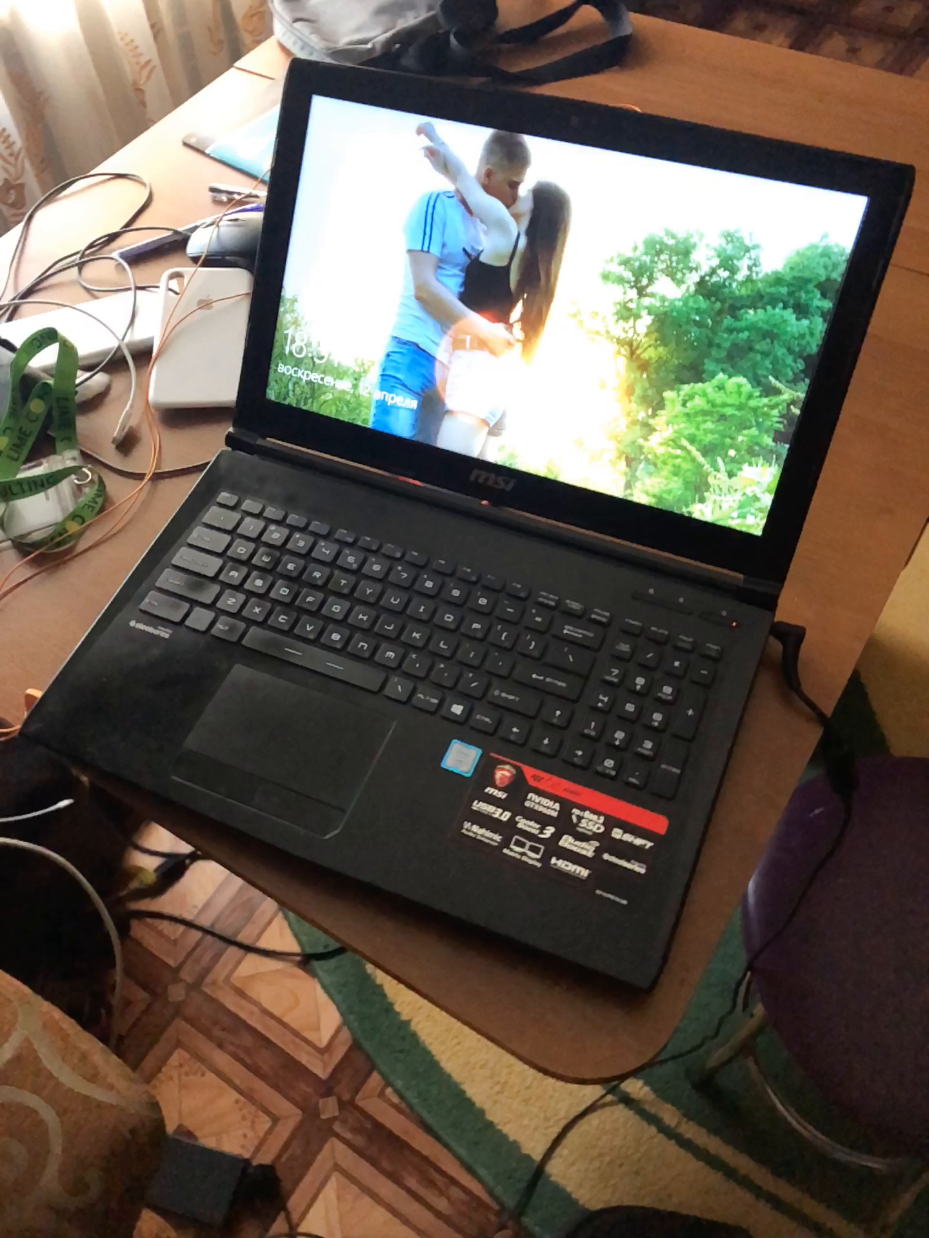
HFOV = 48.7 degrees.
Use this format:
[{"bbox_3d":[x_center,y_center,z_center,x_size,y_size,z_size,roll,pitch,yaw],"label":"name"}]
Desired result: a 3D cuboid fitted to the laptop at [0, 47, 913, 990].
[{"bbox_3d":[-0.006,-0.091,0.563,0.374,0.174,0.410,17,59,15],"label":"laptop"}]
